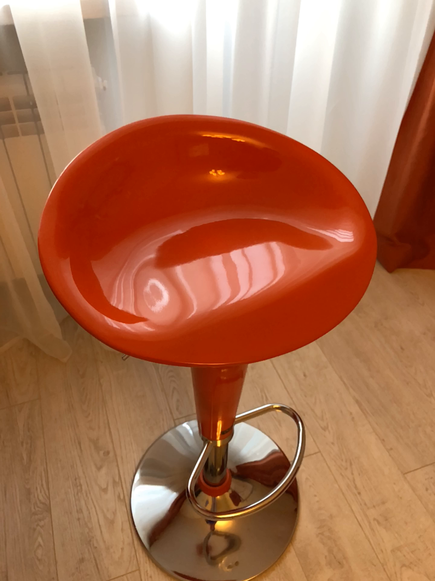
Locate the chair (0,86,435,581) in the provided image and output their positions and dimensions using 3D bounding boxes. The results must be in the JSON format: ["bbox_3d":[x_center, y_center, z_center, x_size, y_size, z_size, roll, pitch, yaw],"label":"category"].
[{"bbox_3d":[0.001,0.149,0.770,0.421,0.725,0.412,28,49,26],"label":"chair"}]
